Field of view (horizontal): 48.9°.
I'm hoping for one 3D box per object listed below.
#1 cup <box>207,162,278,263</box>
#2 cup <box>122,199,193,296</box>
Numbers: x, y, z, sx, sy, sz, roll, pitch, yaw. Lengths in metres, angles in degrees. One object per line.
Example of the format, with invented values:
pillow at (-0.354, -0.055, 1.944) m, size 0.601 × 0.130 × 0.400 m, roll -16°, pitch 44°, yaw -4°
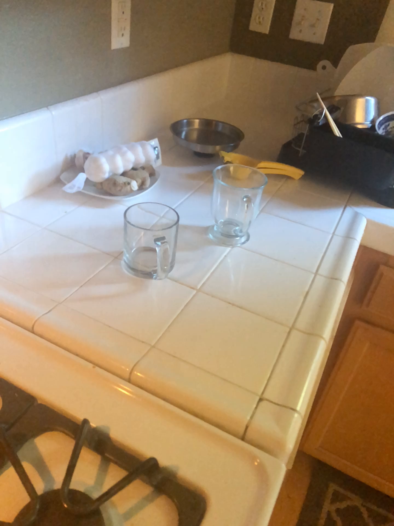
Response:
cup at (0.072, -0.090, 0.759) m, size 0.090 × 0.119 × 0.131 m, roll 5°, pitch 36°, yaw -6°
cup at (-0.067, -0.028, 0.676) m, size 0.090 × 0.089 × 0.131 m, roll -1°, pitch 37°, yaw -13°
